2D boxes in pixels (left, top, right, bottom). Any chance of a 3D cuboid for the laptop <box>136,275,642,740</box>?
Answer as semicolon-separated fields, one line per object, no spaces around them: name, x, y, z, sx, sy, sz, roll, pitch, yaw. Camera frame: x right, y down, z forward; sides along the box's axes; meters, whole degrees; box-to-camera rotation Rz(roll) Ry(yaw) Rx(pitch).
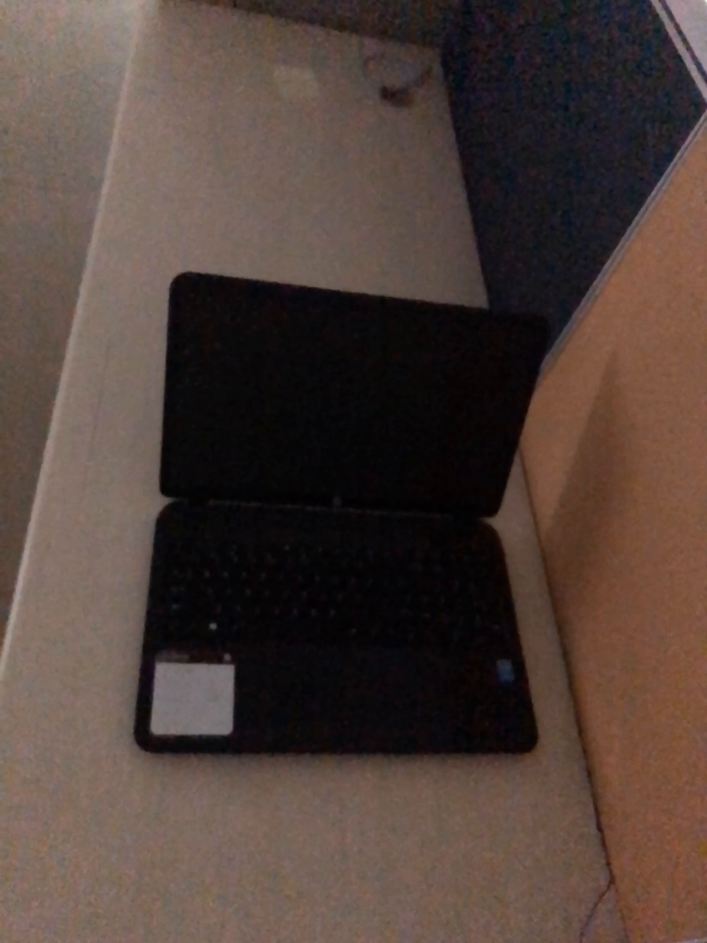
laptop;0.004;0.037;0.721;0.355;0.205;0.353;5;54;-11
